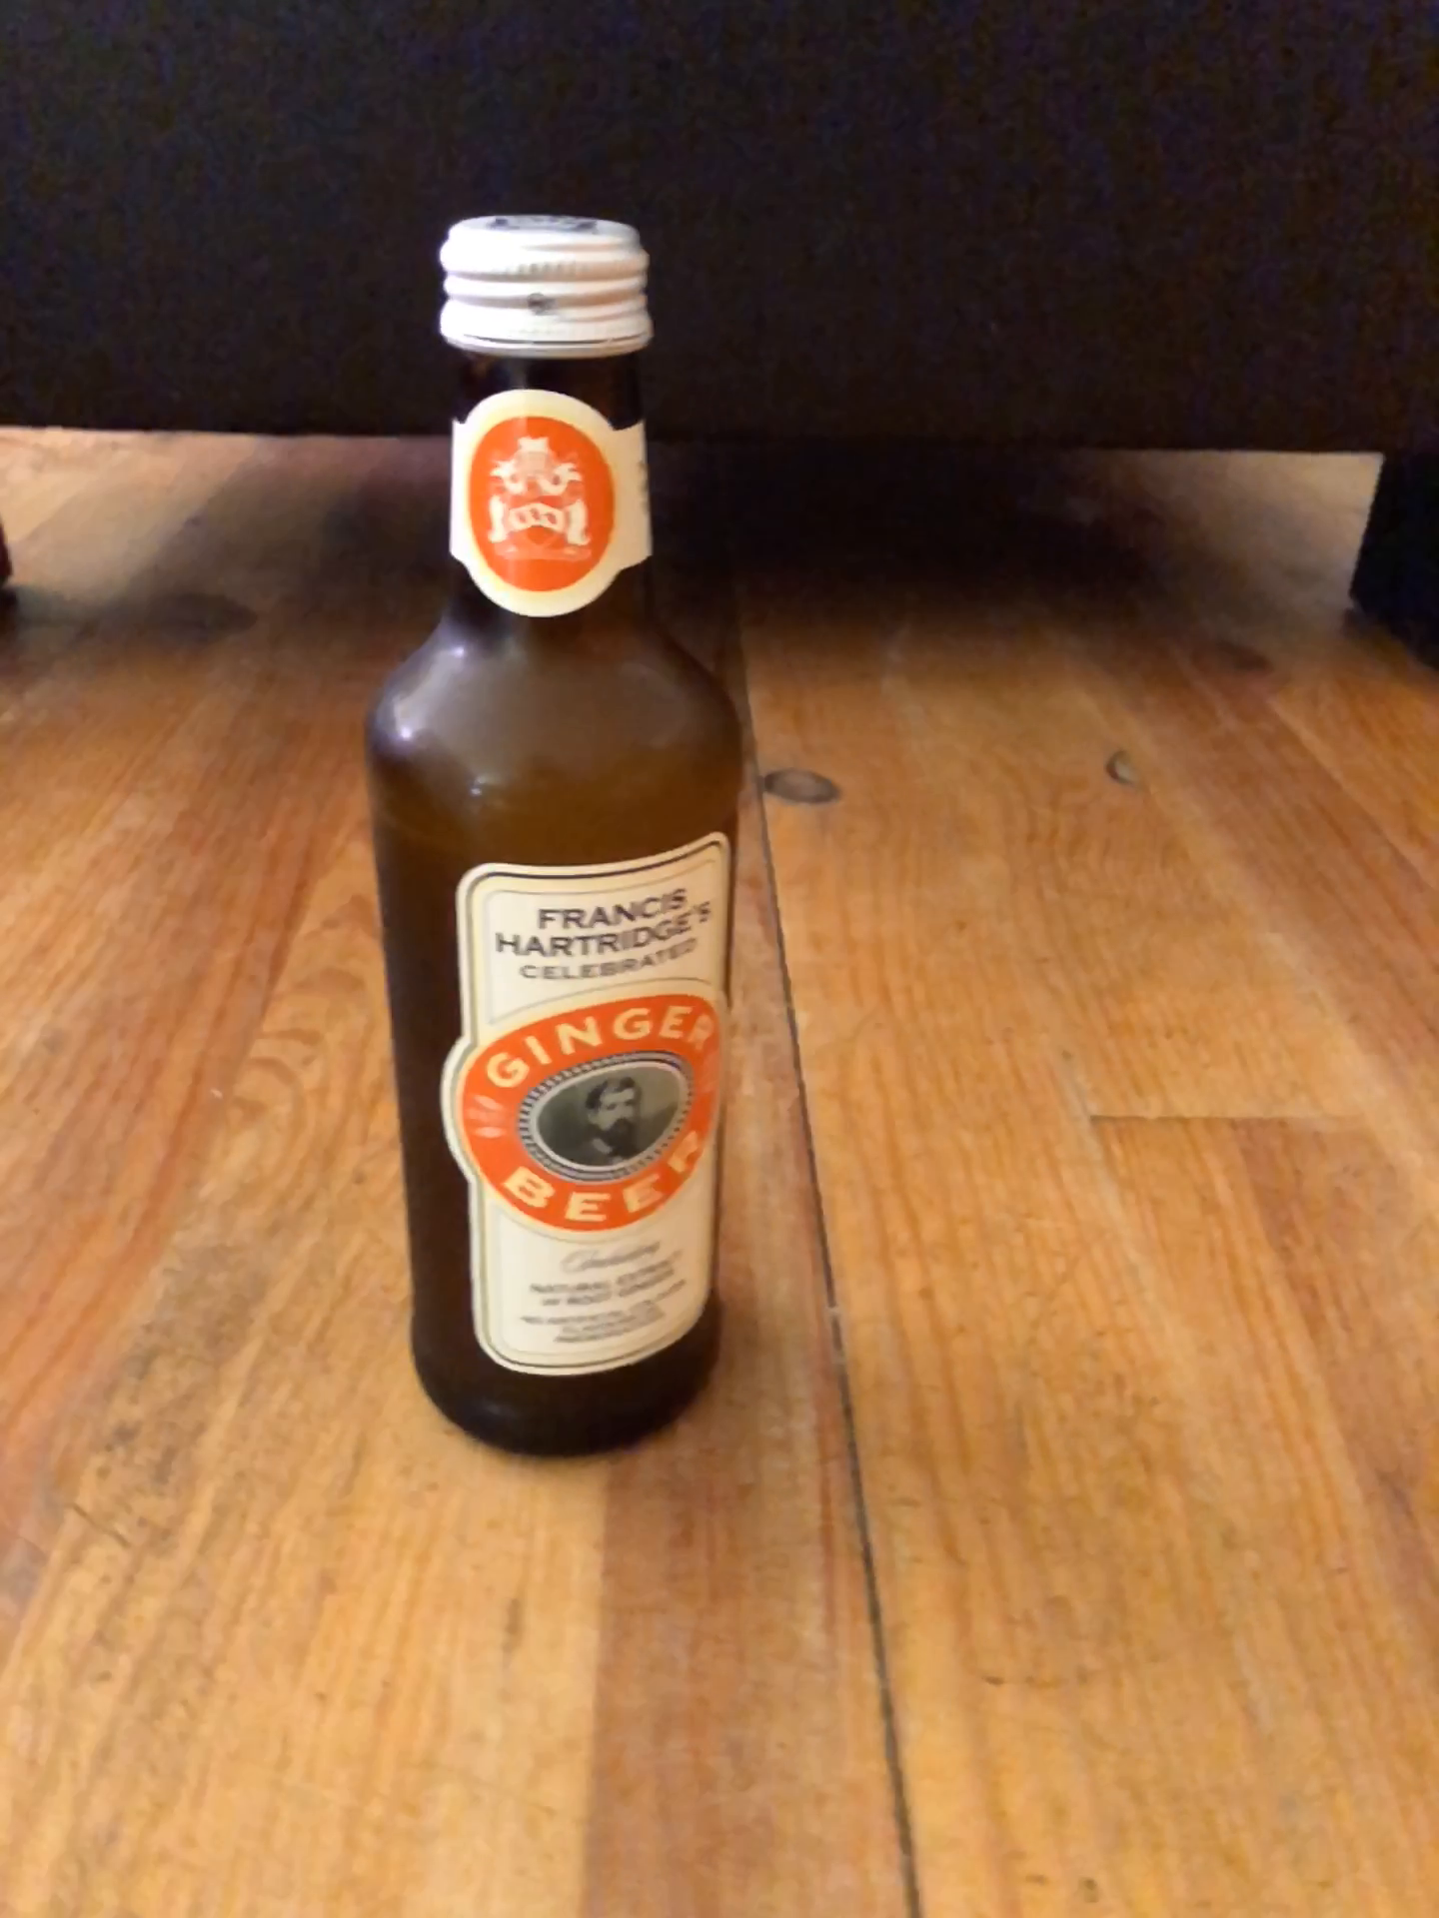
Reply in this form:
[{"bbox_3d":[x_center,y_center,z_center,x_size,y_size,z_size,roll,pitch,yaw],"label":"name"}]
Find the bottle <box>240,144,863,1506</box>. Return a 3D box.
[{"bbox_3d":[-0.028,-0.014,0.262,0.070,0.209,0.060,-8,31,-17],"label":"bottle"}]
